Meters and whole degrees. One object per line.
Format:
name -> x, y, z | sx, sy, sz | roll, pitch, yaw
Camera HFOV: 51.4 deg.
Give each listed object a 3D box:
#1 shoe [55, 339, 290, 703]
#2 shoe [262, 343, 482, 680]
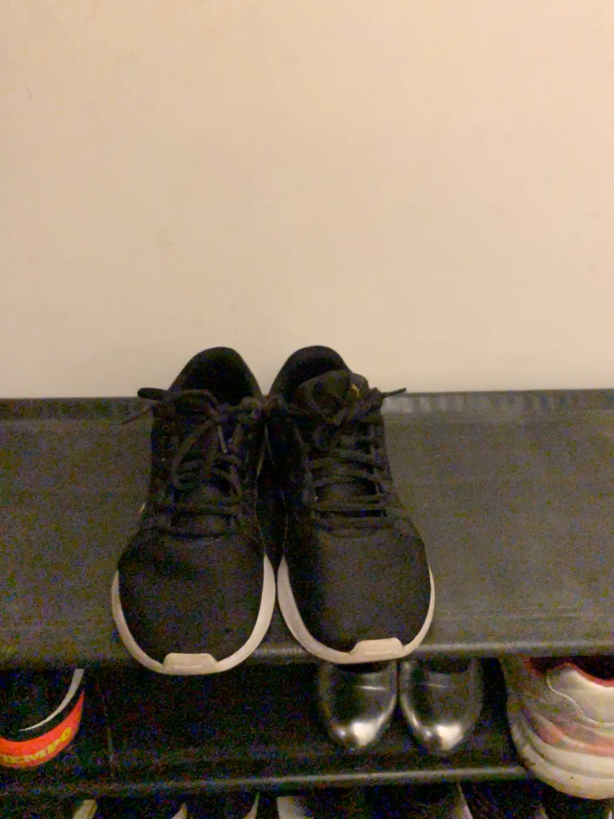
shoe -> -0.073, 0.052, 0.426 | 0.110, 0.089, 0.242 | -2, 35, -4
shoe -> 0.026, 0.049, 0.456 | 0.110, 0.069, 0.262 | -2, 35, -4
